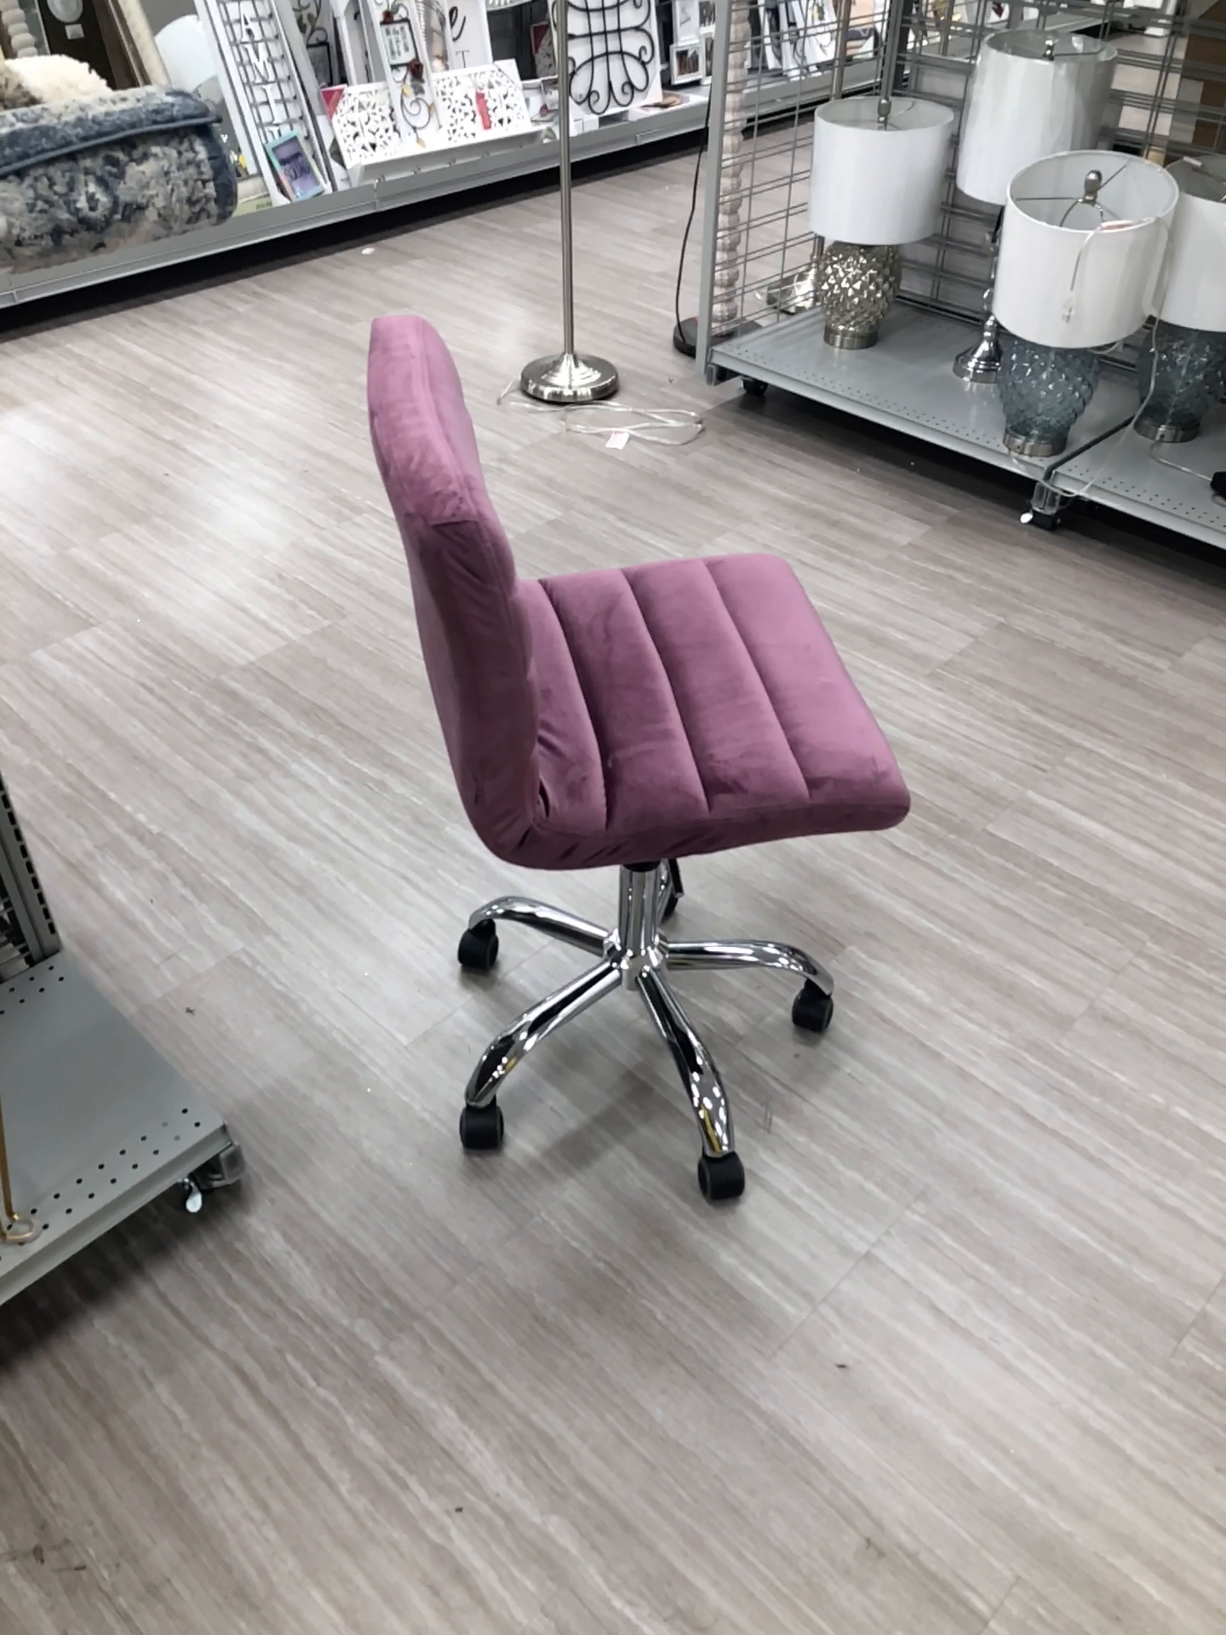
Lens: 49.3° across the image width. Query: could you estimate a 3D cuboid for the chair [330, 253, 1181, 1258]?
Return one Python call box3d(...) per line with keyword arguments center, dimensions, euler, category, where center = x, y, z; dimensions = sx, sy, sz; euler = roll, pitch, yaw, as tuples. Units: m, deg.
box3d(center=(0.068, -0.078, 1.422), dimensions=(0.577, 0.800, 0.590), euler=(-9, 40, -13), category="chair")
